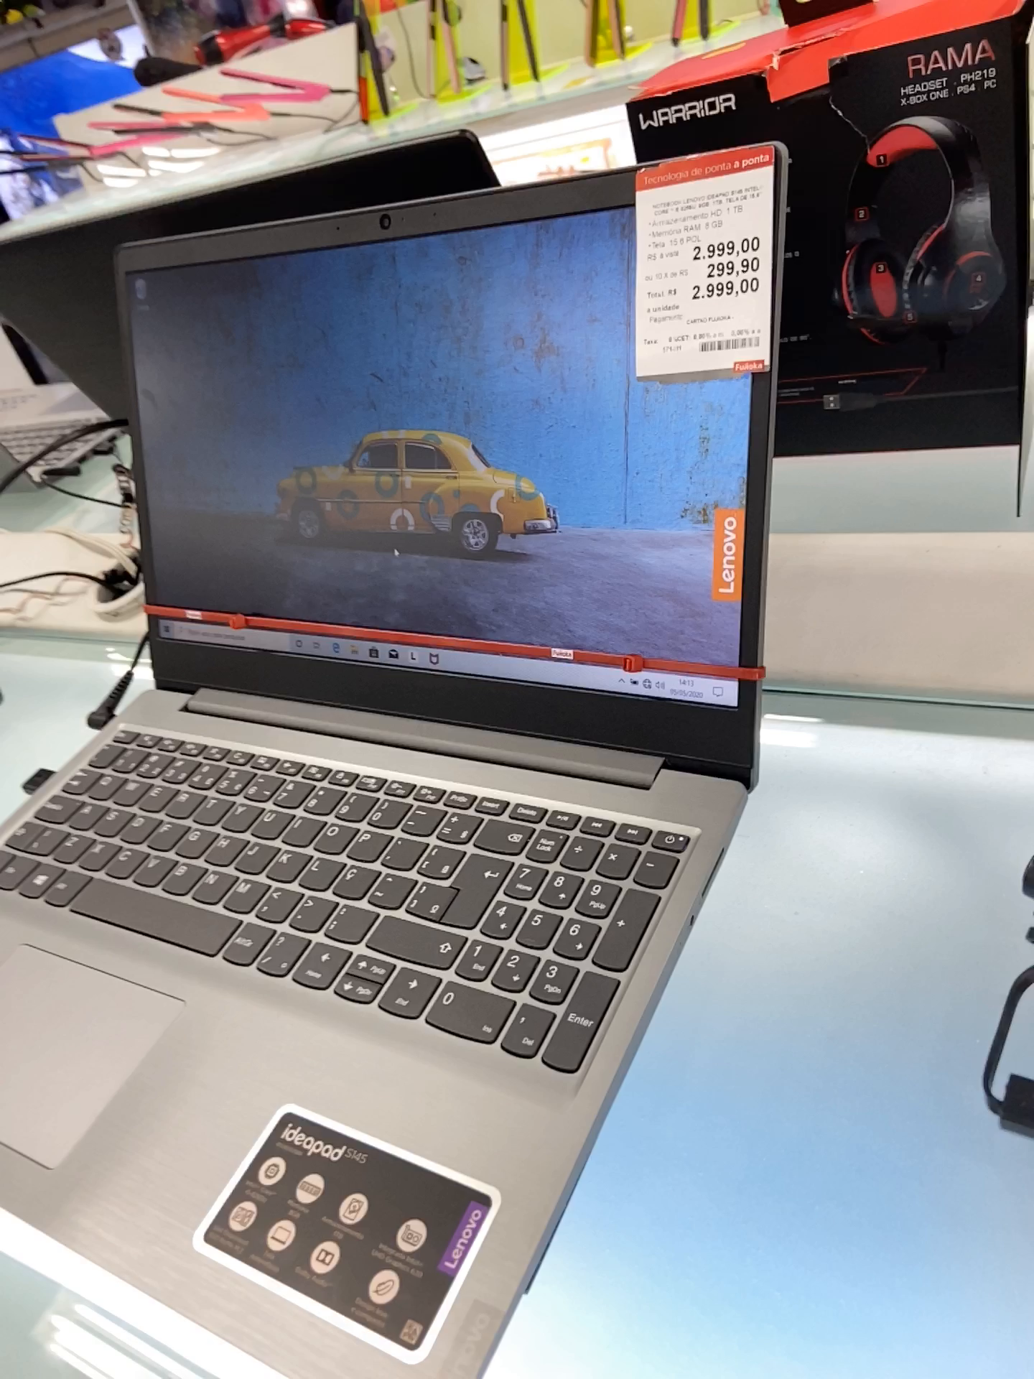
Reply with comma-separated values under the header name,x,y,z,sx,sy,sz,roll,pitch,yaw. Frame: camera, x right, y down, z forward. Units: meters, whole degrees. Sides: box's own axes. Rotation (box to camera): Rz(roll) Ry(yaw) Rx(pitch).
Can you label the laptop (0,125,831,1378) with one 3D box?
name,x,y,z,sx,sy,sz,roll,pitch,yaw
laptop,-0.121,-0.024,0.432,0.368,0.209,0.381,6,43,32
